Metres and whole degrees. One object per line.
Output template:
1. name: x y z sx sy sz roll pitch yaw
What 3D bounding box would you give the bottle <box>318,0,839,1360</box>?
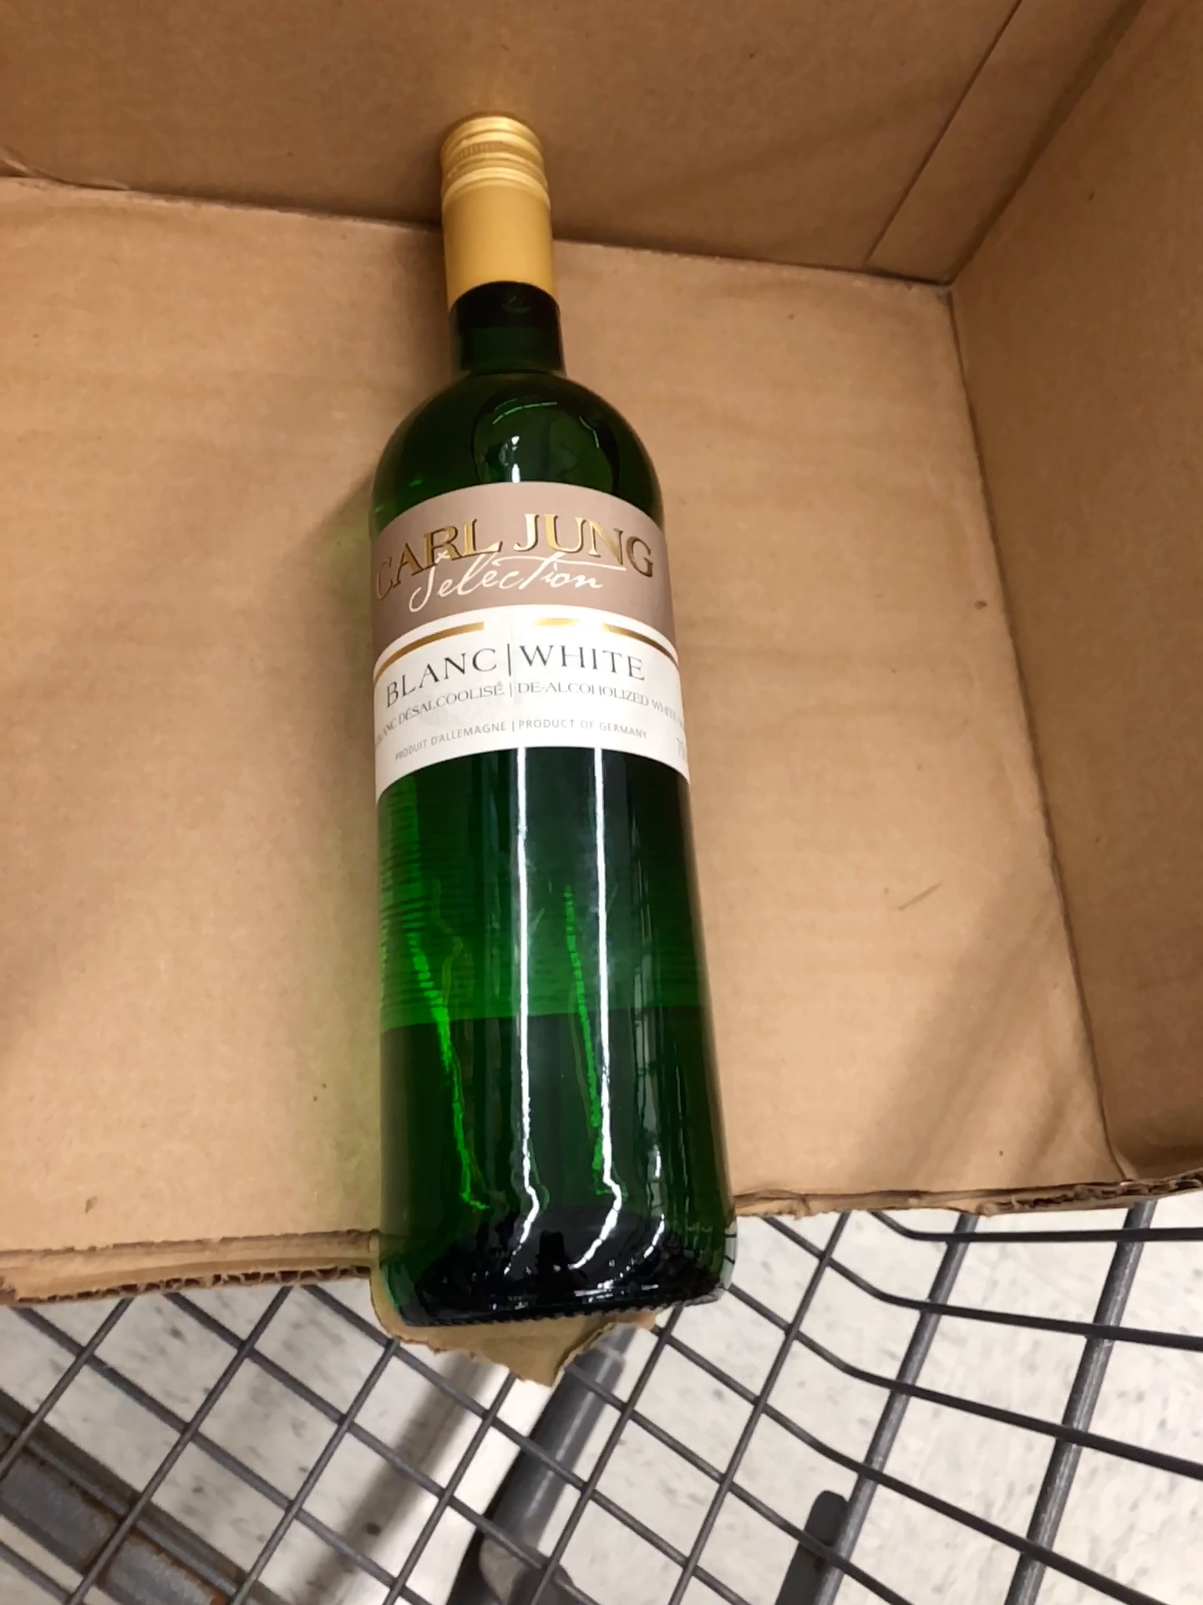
1. bottle: -0.017 -0.057 0.310 0.080 0.100 0.331 -3 72 -5
